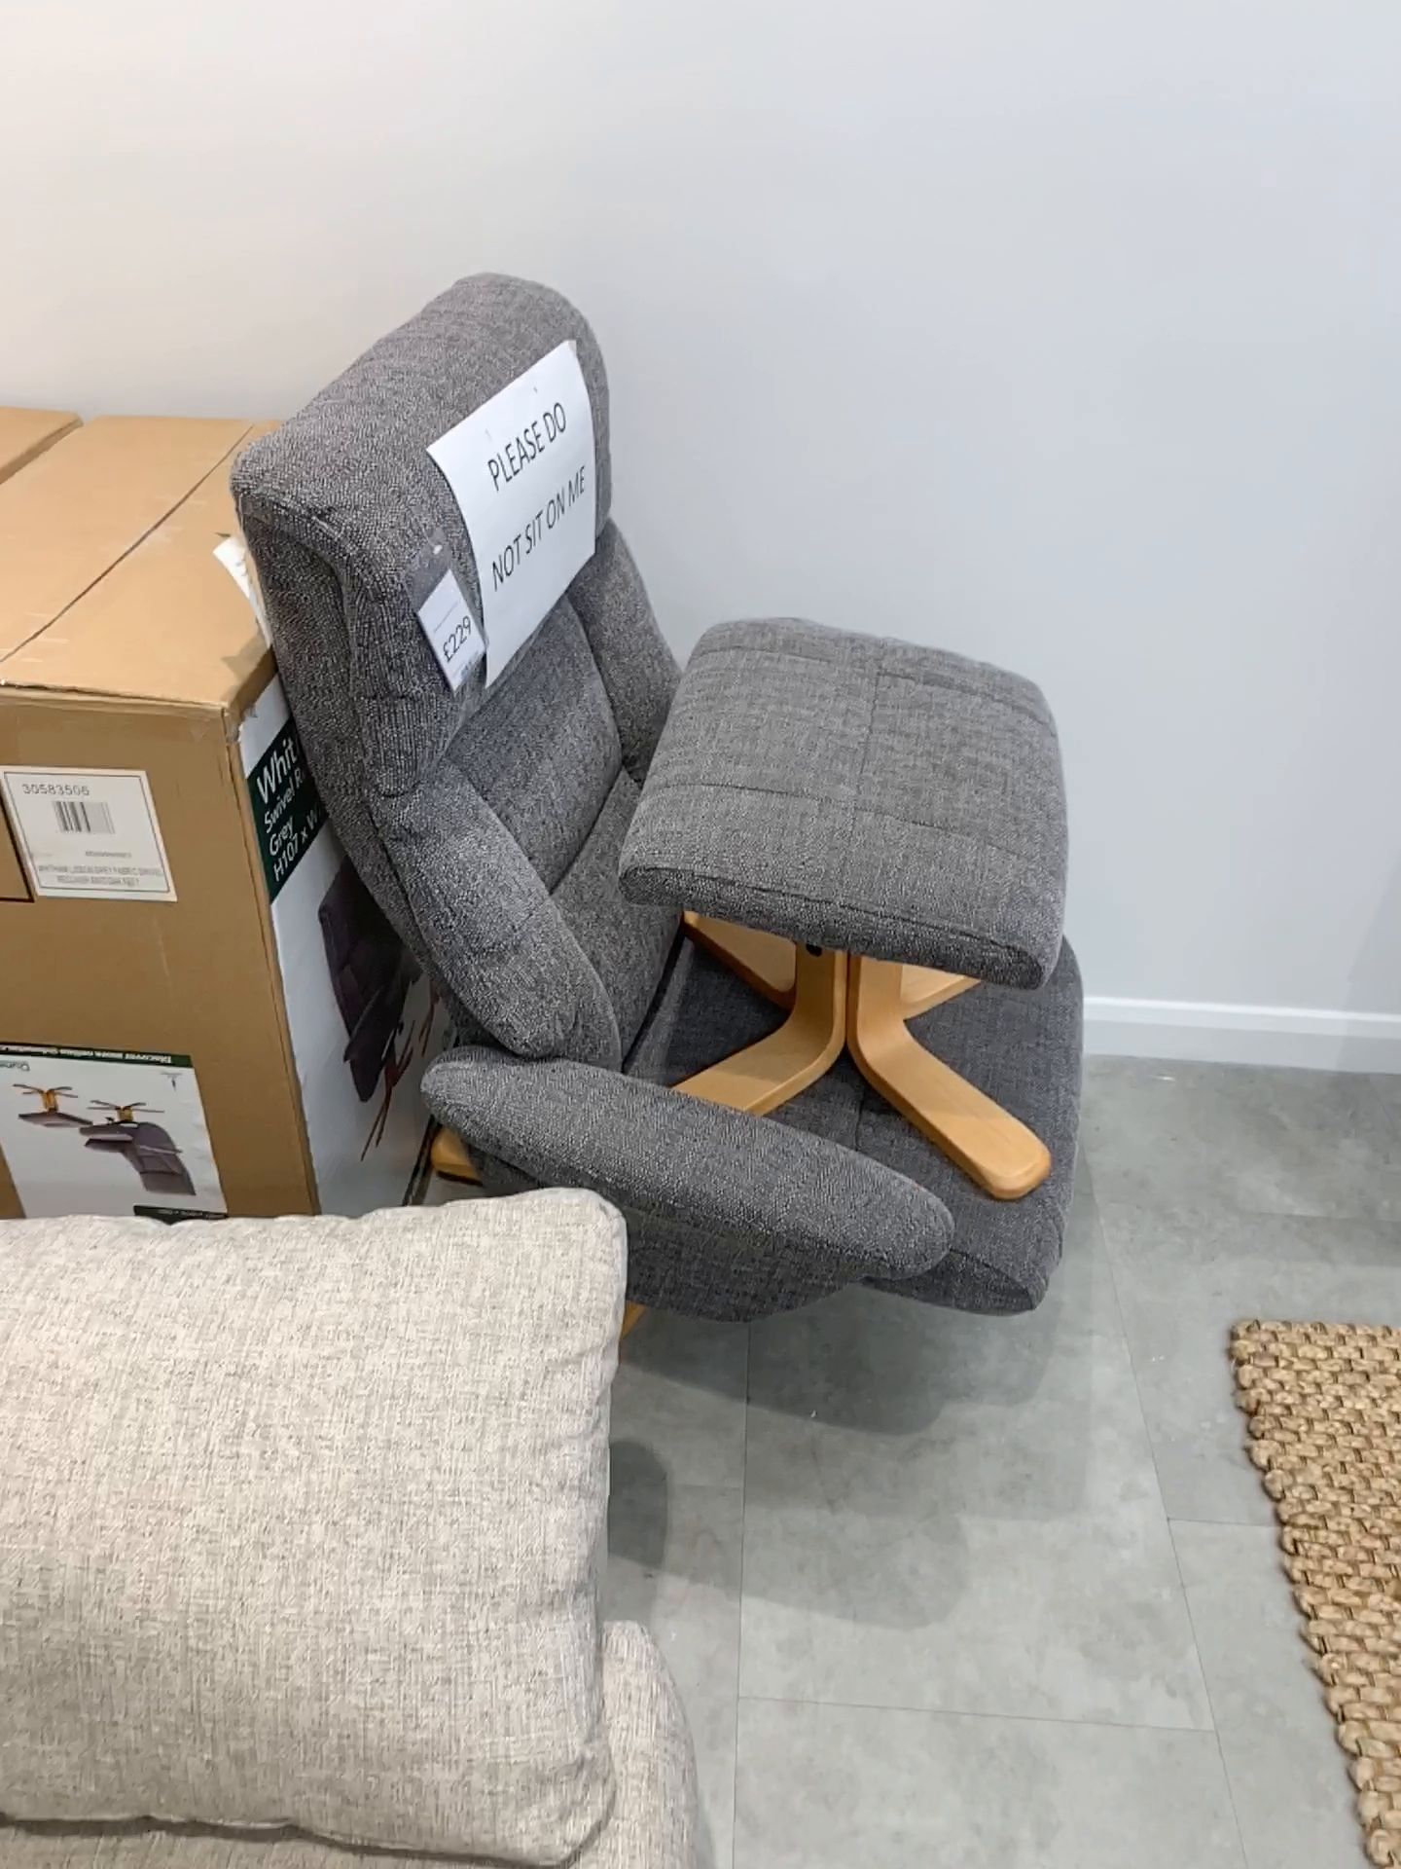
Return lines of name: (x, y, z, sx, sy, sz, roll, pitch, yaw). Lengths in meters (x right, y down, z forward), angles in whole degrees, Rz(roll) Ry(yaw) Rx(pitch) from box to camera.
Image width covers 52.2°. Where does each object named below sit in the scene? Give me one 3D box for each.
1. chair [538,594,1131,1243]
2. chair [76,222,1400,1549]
chair: (0.128, -0.043, 1.375, 0.445, 0.352, 0.501, 7, 36, 6)
chair: (0.070, -0.109, 1.417, 0.785, 0.897, 0.874, 7, 36, 6)
